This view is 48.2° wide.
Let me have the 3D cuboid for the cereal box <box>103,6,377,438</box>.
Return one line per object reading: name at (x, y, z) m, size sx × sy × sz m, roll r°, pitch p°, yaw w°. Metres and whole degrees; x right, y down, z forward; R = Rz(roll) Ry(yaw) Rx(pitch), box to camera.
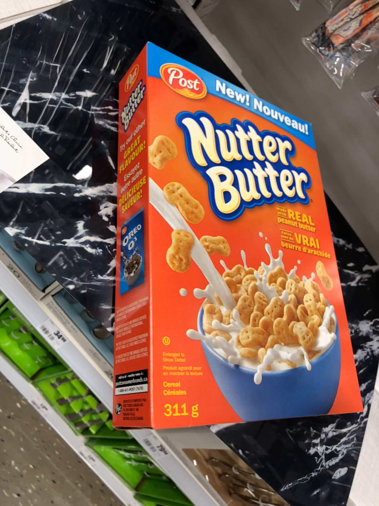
cereal box at (0.043, -0.021, 0.348) m, size 0.211 × 0.050 × 0.300 m, roll 11°, pitch 67°, yaw -33°
